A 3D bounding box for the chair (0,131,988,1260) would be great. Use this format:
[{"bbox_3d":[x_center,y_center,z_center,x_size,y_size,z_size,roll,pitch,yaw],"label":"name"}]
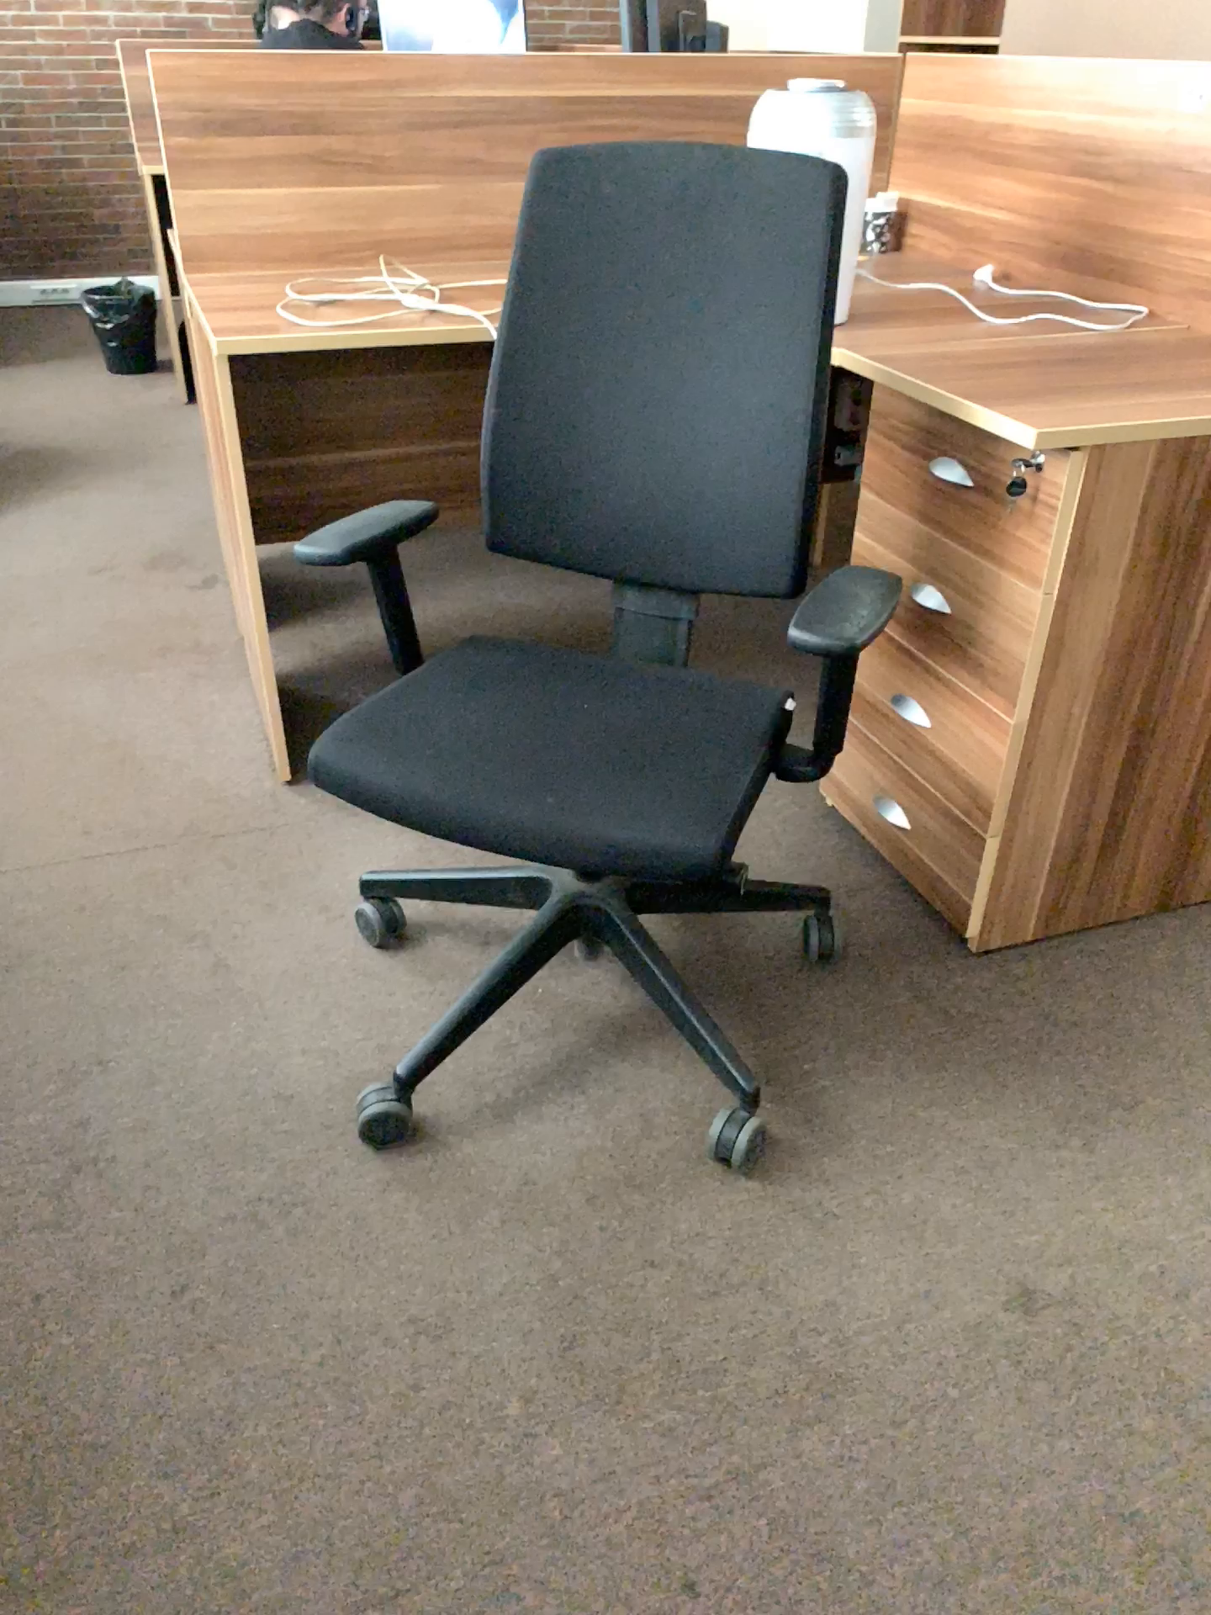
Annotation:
[{"bbox_3d":[-0.039,-0.209,1.388,0.670,0.915,0.793,12,33,18],"label":"chair"}]
